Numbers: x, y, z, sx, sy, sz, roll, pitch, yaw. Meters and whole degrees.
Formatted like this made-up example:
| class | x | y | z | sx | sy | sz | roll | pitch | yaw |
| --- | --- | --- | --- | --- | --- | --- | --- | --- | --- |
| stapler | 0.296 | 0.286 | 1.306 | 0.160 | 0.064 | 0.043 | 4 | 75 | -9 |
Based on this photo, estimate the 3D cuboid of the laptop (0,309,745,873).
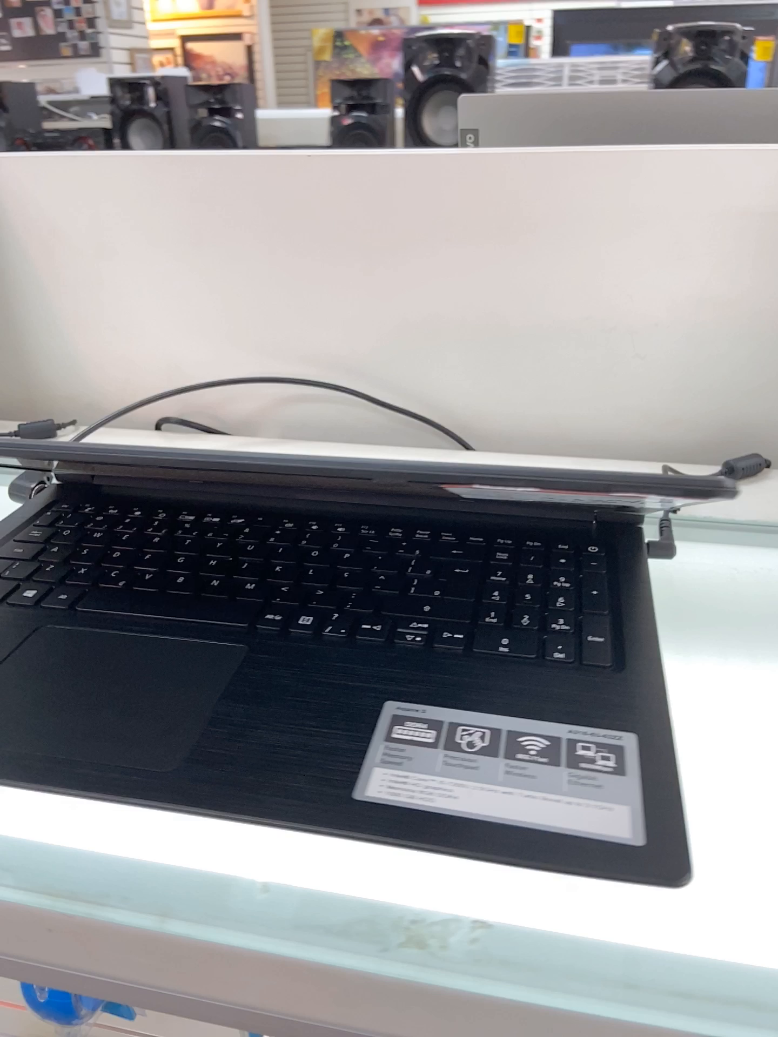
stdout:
| class | x | y | z | sx | sy | sz | roll | pitch | yaw |
| --- | --- | --- | --- | --- | --- | --- | --- | --- | --- |
| laptop | -0.070 | -0.007 | 0.367 | 0.381 | 0.118 | 0.237 | 4 | 27 | 11 |
